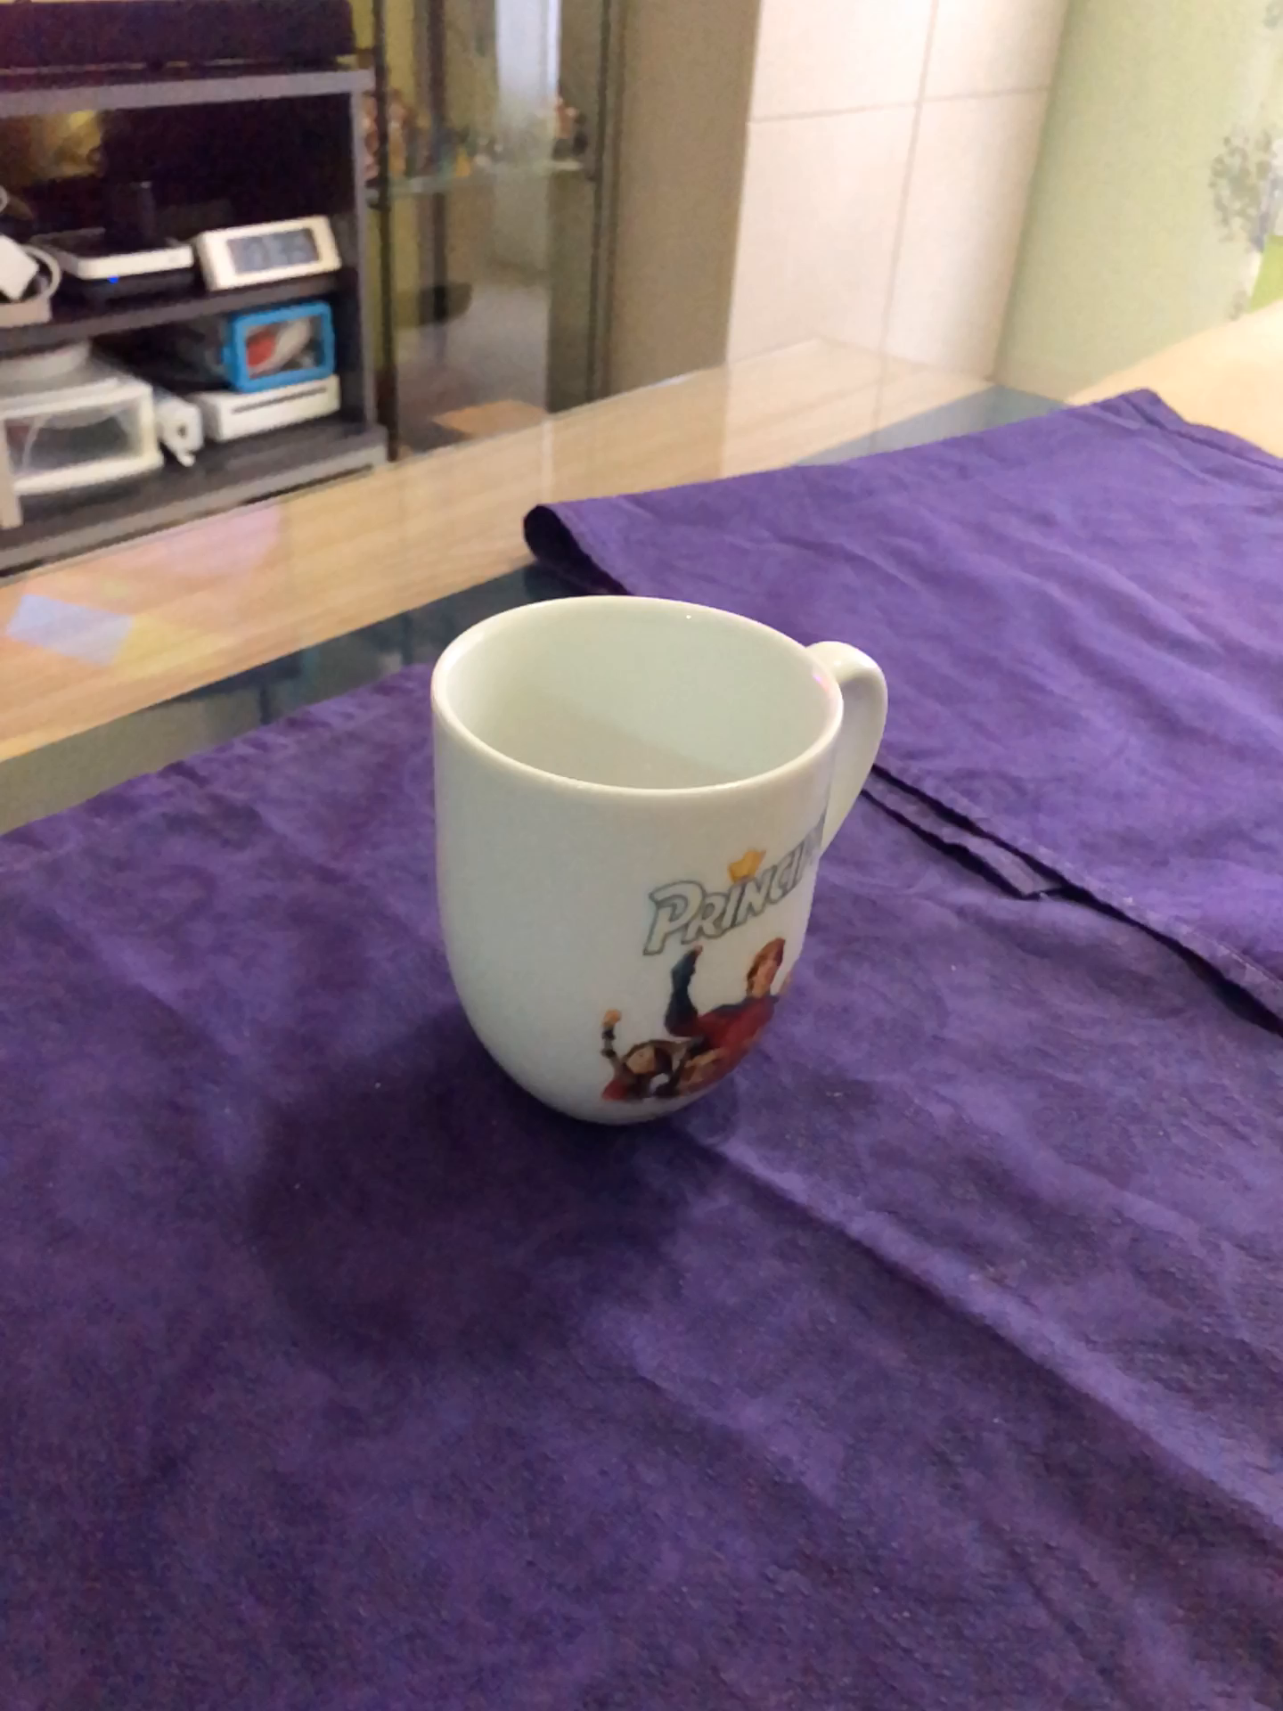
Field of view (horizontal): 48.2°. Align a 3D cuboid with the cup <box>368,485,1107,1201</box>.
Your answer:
[{"bbox_3d":[0.018,-0.011,0.300,0.120,0.090,0.080,-23,43,-34],"label":"cup"}]
